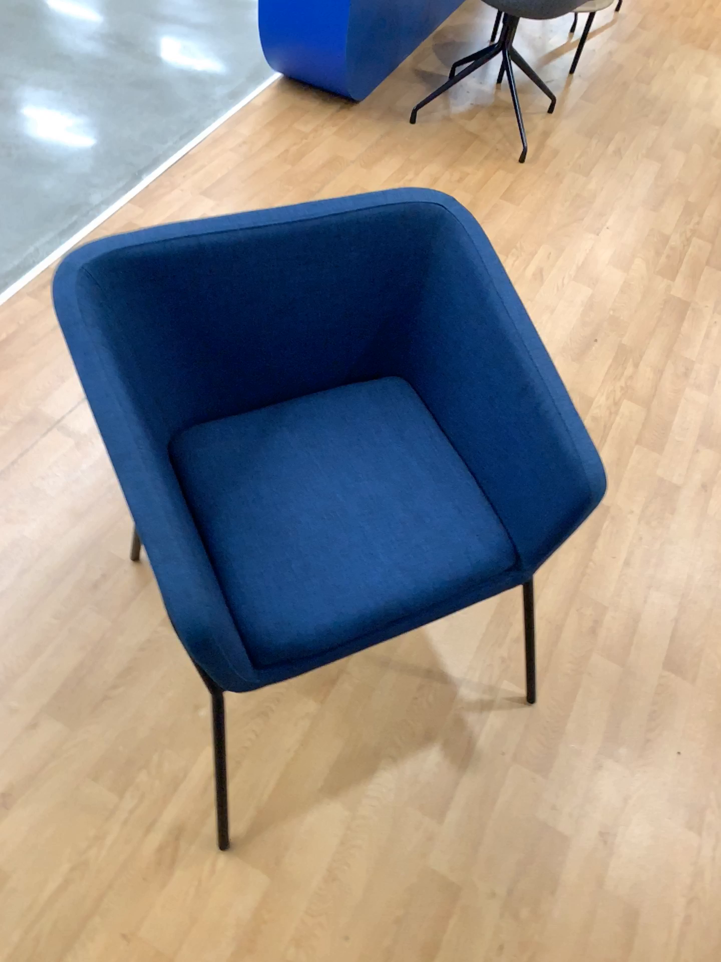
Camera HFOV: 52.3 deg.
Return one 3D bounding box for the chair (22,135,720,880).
[{"bbox_3d":[-0.012,0.021,1.148,0.701,0.685,0.754,-16,58,-21],"label":"chair"}]
